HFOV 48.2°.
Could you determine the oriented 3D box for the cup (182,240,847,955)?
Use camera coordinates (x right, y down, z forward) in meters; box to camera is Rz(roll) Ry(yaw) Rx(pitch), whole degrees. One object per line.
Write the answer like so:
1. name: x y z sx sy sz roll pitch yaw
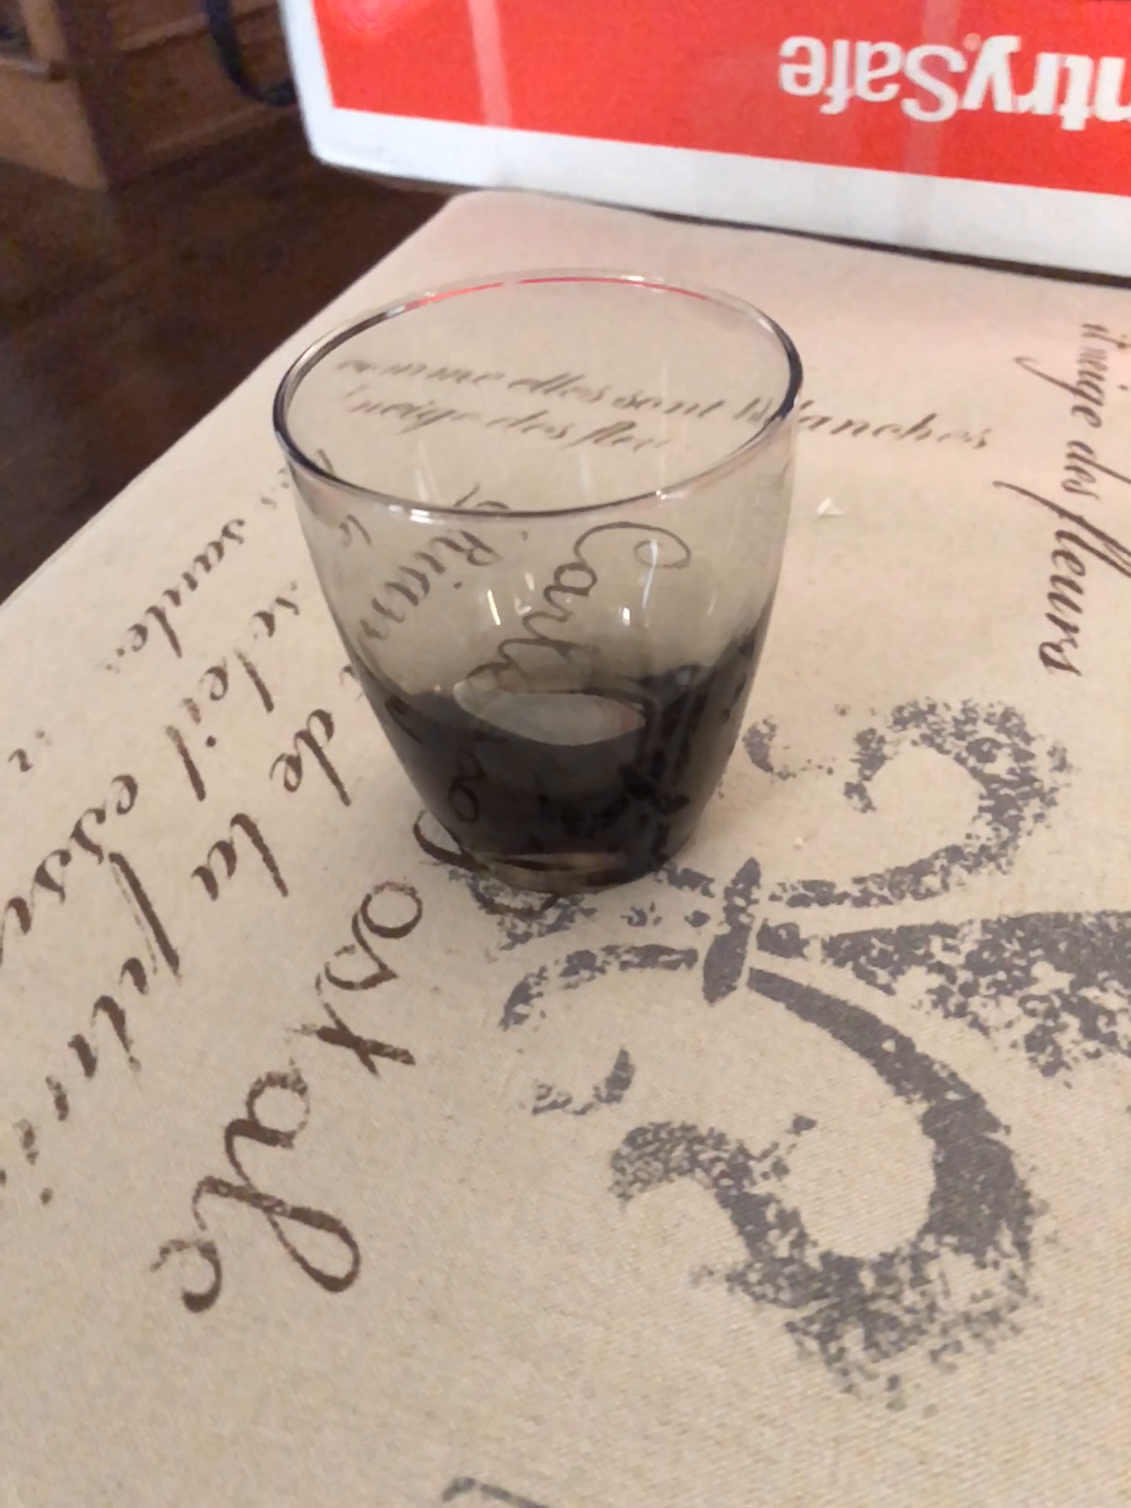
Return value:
1. cup: -0.001 -0.033 0.242 0.088 0.092 0.088 -2 43 2
